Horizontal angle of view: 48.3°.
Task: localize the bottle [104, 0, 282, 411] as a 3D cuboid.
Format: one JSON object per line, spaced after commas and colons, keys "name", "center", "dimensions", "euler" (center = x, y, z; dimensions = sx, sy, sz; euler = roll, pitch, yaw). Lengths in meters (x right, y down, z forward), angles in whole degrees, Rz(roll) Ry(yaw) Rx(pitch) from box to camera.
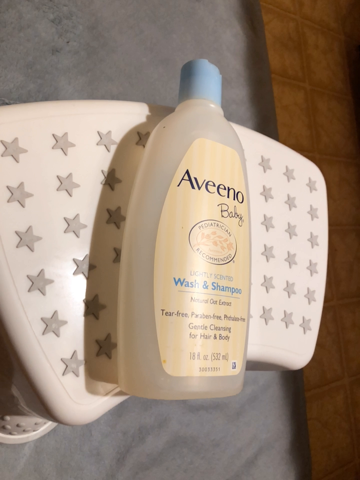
{"name": "bottle", "center": [0.016, -0.022, 0.264], "dimensions": [0.100, 0.040, 0.240], "euler": [12, 74, -32]}
